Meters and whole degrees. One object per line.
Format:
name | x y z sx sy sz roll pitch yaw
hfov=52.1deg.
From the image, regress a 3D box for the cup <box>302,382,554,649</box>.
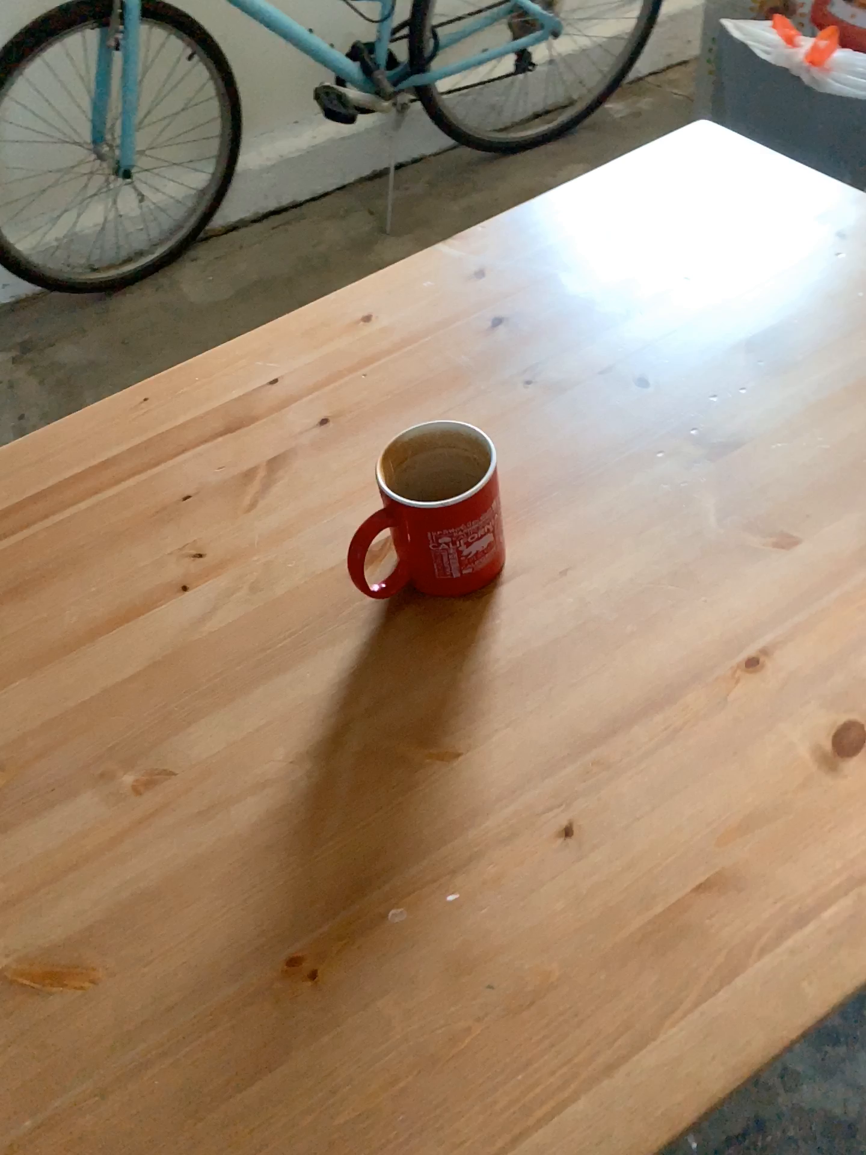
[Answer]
cup | 0.000 -0.043 0.601 0.130 0.100 0.090 -32 54 -14
